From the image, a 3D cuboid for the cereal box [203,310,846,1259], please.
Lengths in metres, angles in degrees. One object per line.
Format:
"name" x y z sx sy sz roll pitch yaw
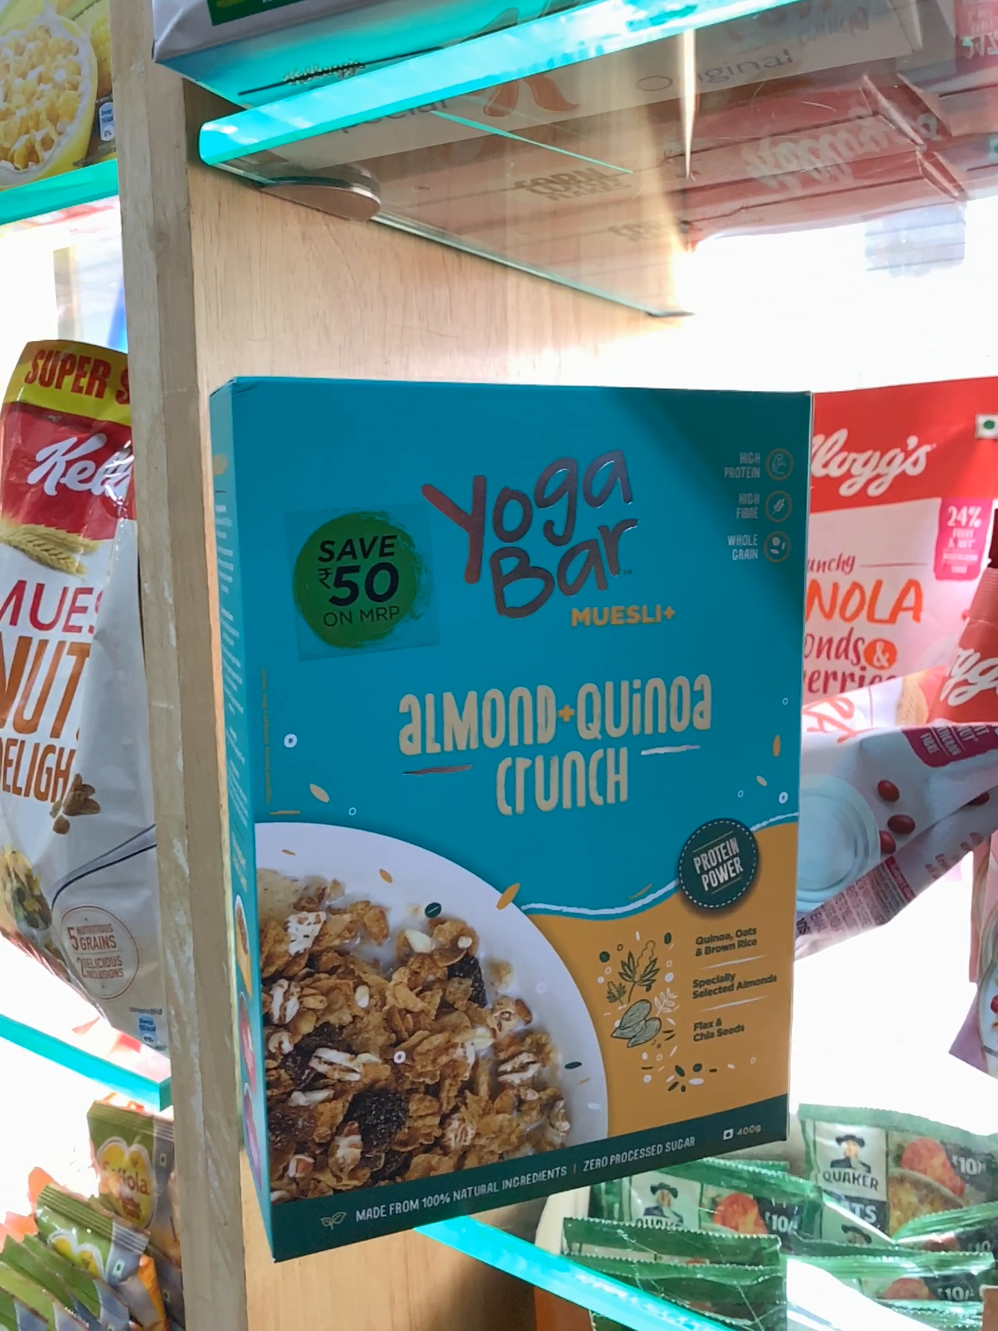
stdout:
"cereal box" 0.007 0.025 0.289 0.160 0.219 0.060 -3 8 -20
